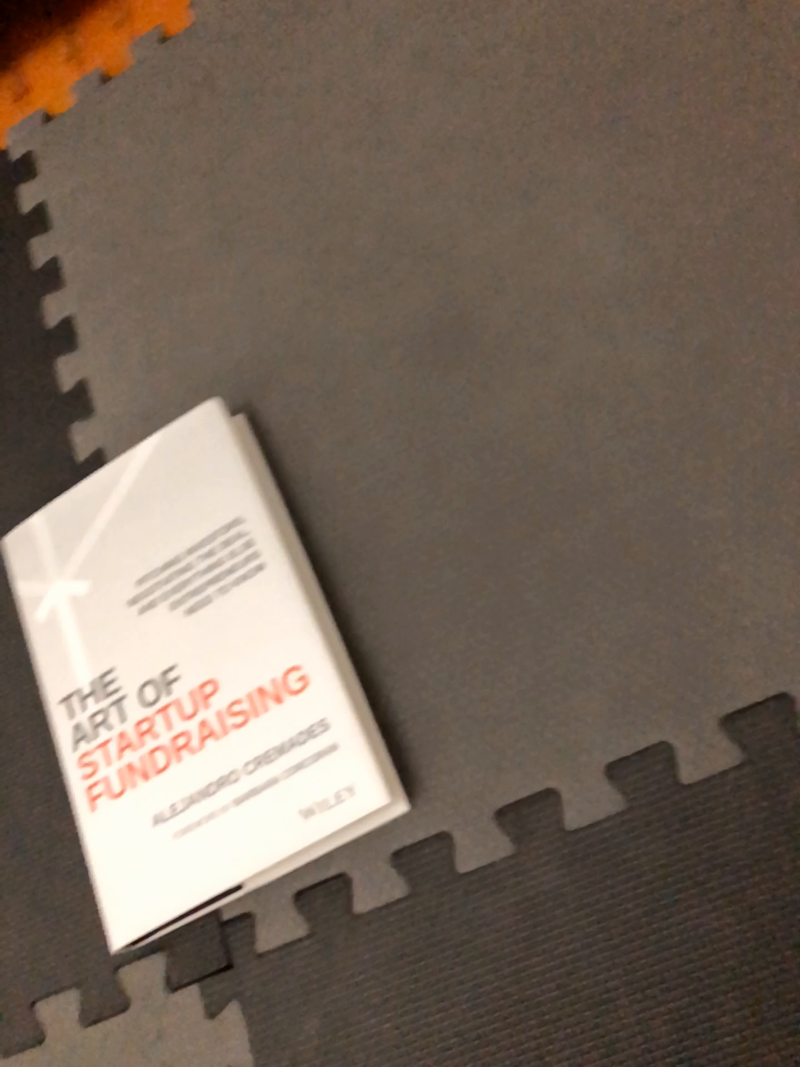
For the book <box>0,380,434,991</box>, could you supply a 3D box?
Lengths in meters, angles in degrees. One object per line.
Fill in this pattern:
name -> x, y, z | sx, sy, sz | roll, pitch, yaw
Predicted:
book -> -0.110, 0.067, 0.454 | 0.170, 0.030, 0.251 | -30, 65, 11
